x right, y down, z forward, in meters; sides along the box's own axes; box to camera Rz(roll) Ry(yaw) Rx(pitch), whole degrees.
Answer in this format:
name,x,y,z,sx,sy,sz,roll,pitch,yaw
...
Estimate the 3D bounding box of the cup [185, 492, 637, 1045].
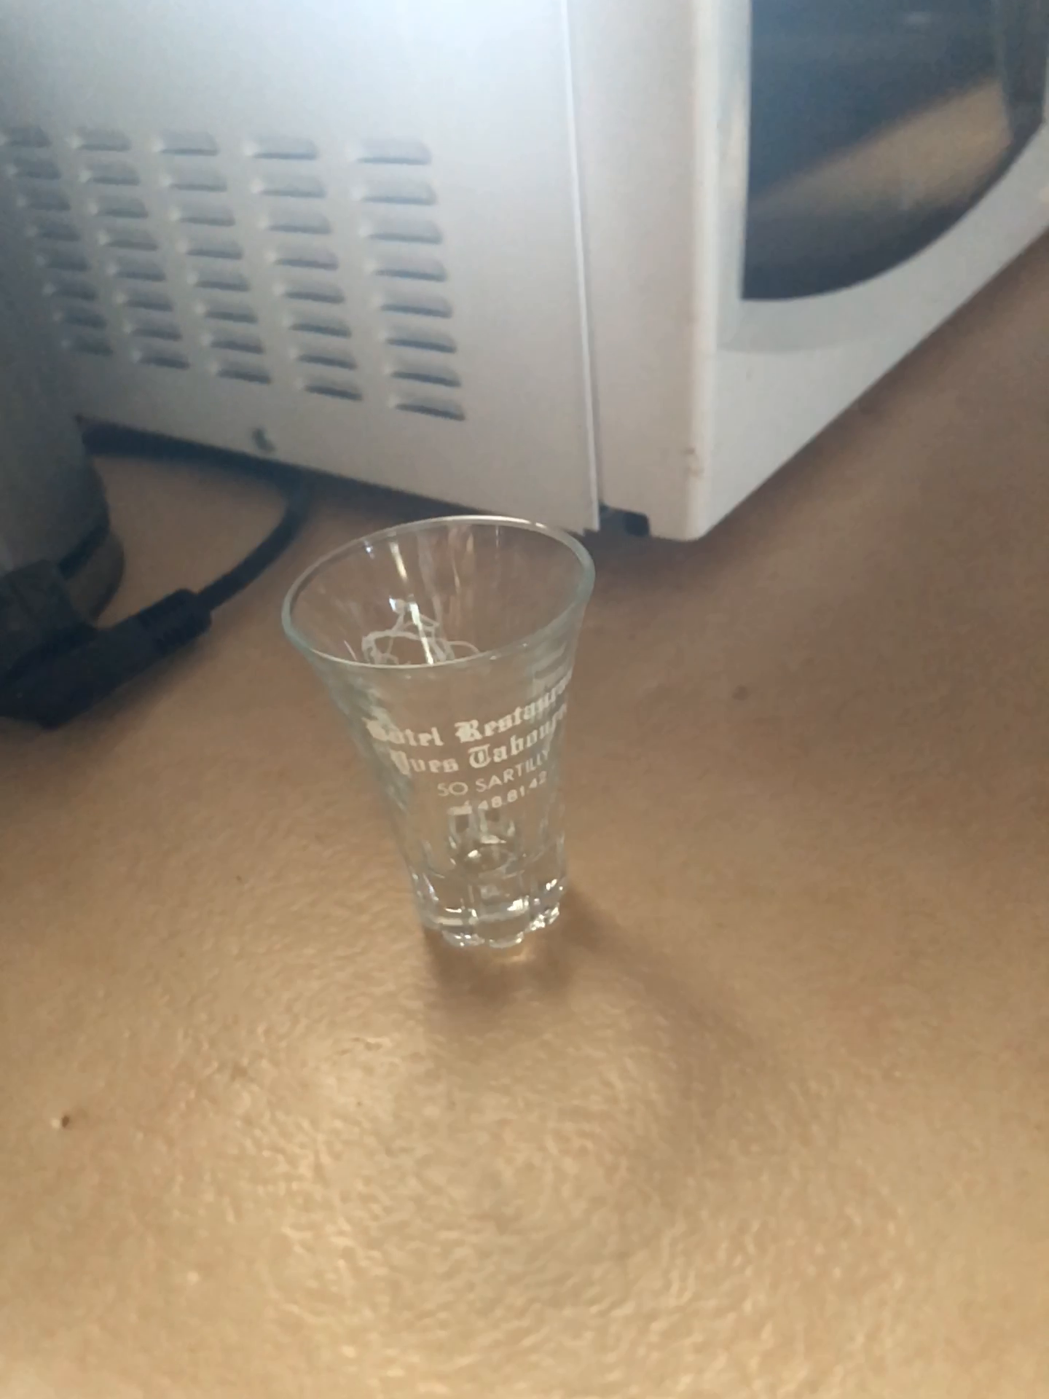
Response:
name,x,y,z,sx,sy,sz,roll,pitch,yaw
cup,-0.017,0.010,0.209,0.050,0.070,0.050,-5,34,3
